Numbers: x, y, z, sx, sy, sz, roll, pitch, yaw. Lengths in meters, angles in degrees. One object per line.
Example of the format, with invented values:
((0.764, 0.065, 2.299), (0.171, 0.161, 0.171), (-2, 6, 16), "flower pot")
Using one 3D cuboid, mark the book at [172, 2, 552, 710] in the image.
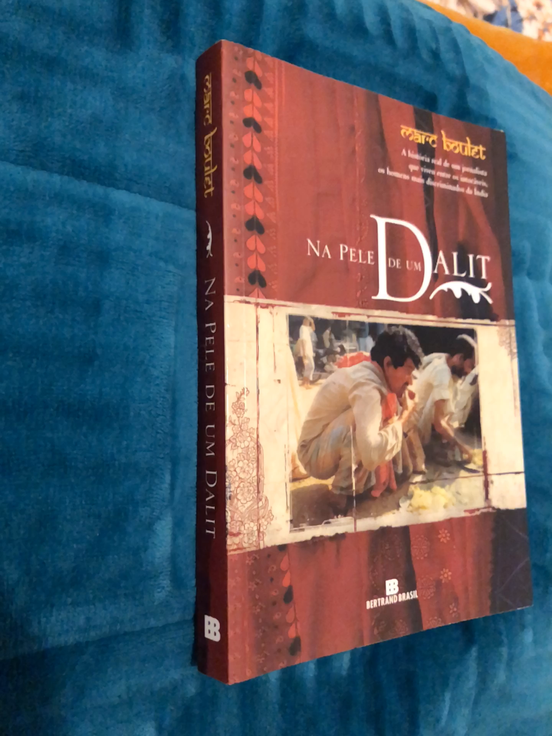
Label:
((0.041, -0.006, 0.244), (0.161, 0.030, 0.220), (1, 85, -30), "book")
